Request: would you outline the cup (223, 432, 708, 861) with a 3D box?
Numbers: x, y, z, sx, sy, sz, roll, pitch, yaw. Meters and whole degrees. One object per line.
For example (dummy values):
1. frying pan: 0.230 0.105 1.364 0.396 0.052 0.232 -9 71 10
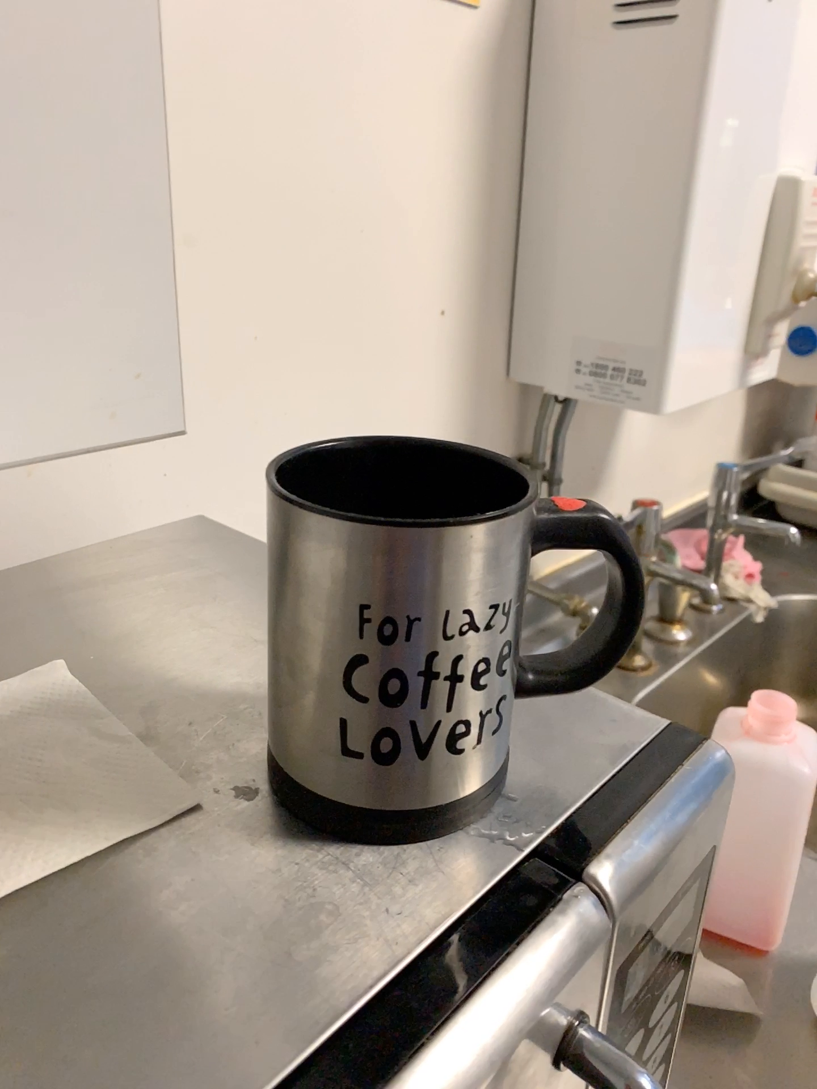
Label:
1. cup: 0.010 0.027 0.291 0.133 0.108 0.096 -1 22 -8
